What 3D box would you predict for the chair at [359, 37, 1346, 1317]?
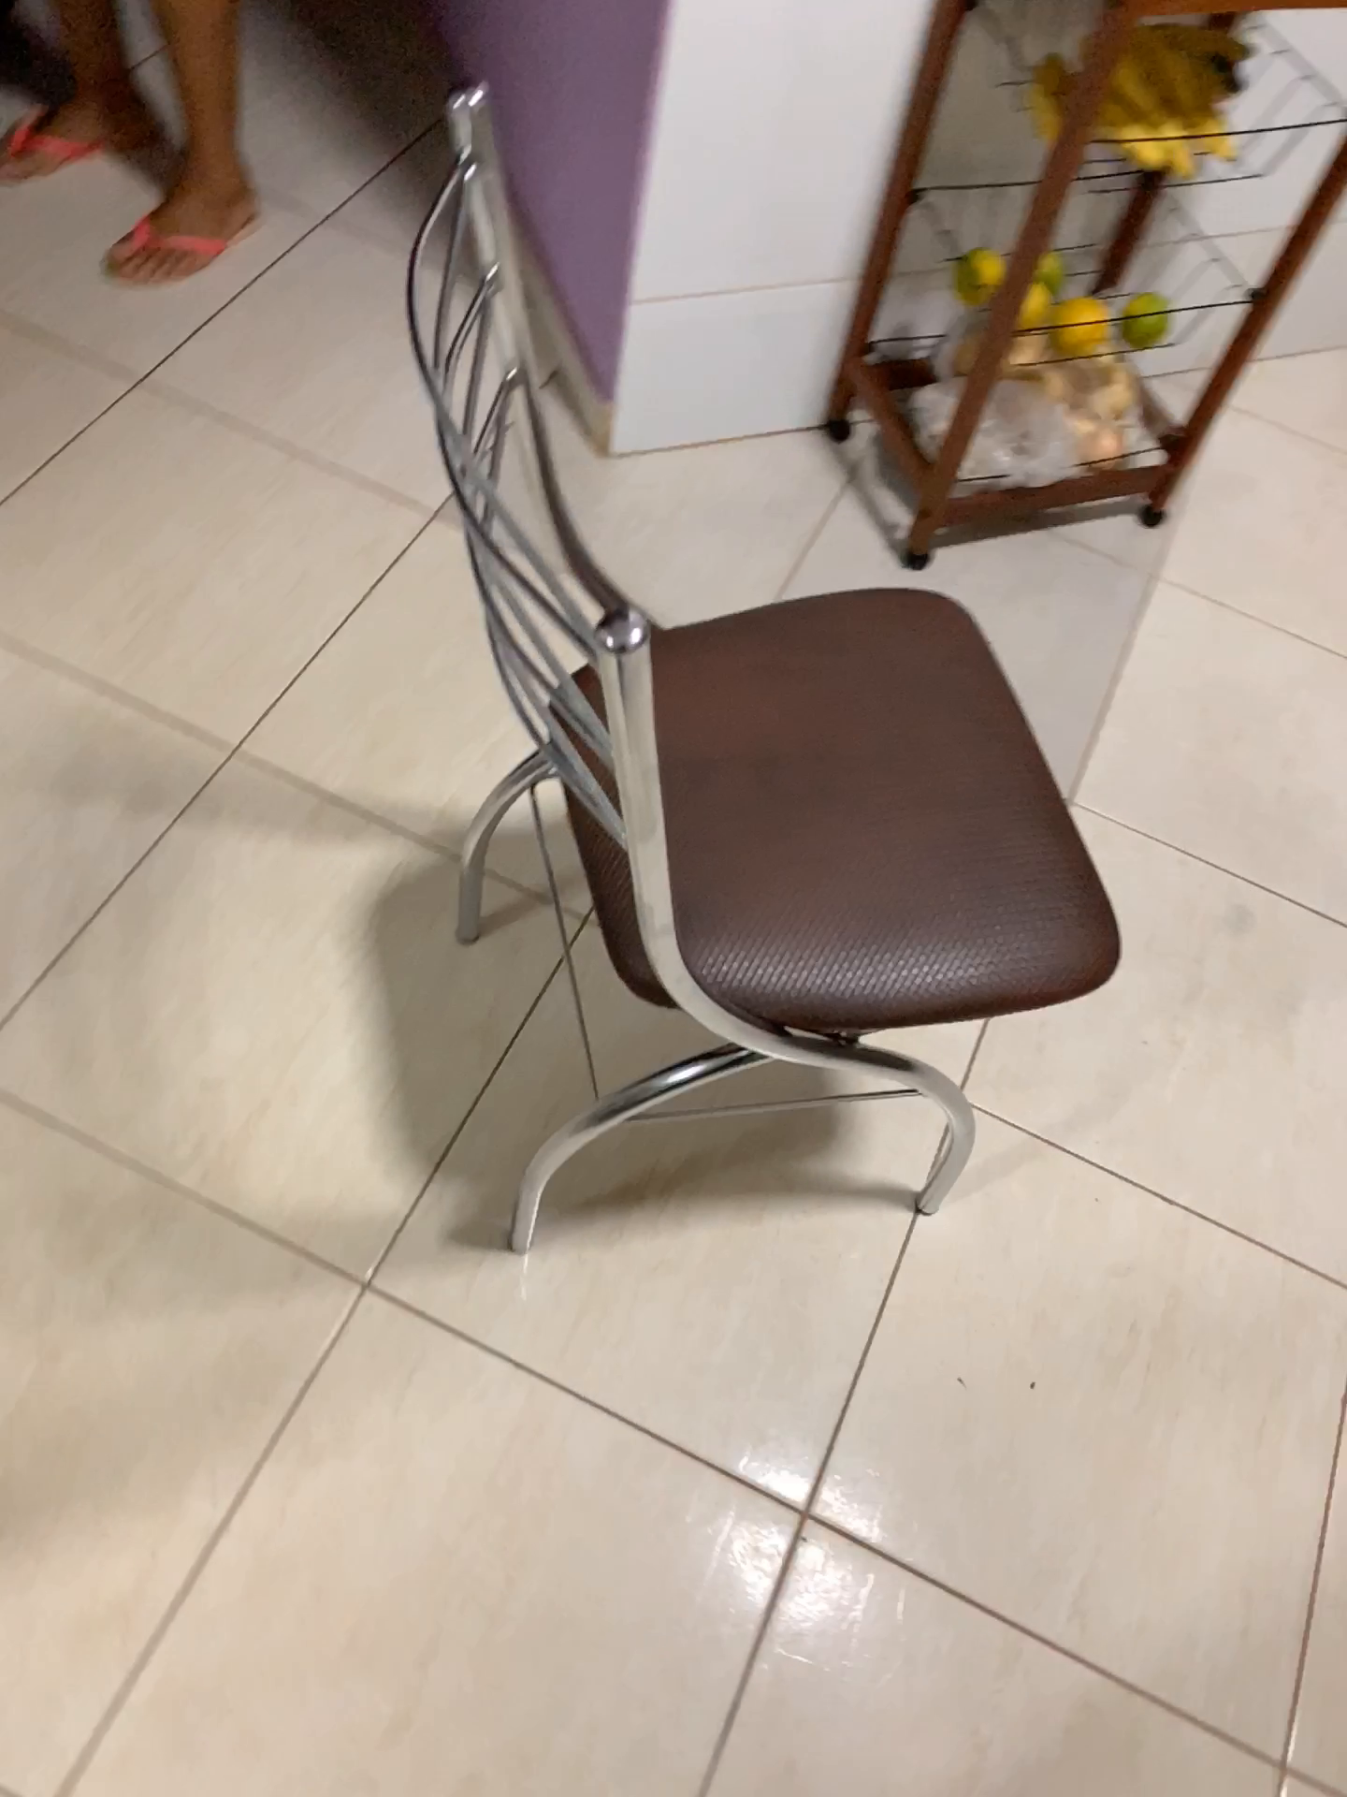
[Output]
[{"bbox_3d":[0.059,-0.061,1.015,0.483,0.873,0.420,-7,59,-13],"label":"chair"}]
